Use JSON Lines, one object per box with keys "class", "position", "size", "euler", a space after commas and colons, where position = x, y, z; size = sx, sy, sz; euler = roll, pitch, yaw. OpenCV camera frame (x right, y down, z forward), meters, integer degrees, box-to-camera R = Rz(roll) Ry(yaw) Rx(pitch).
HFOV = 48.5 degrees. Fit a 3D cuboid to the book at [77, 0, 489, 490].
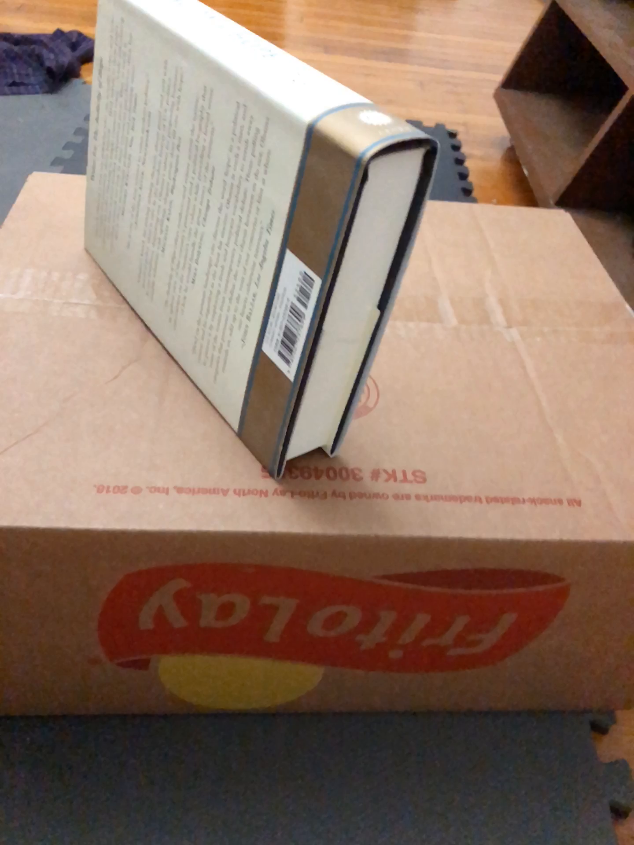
{"class": "book", "position": [-0.048, -0.116, 0.379], "size": [0.060, 0.169, 0.251], "euler": [-14, 48, -36]}
